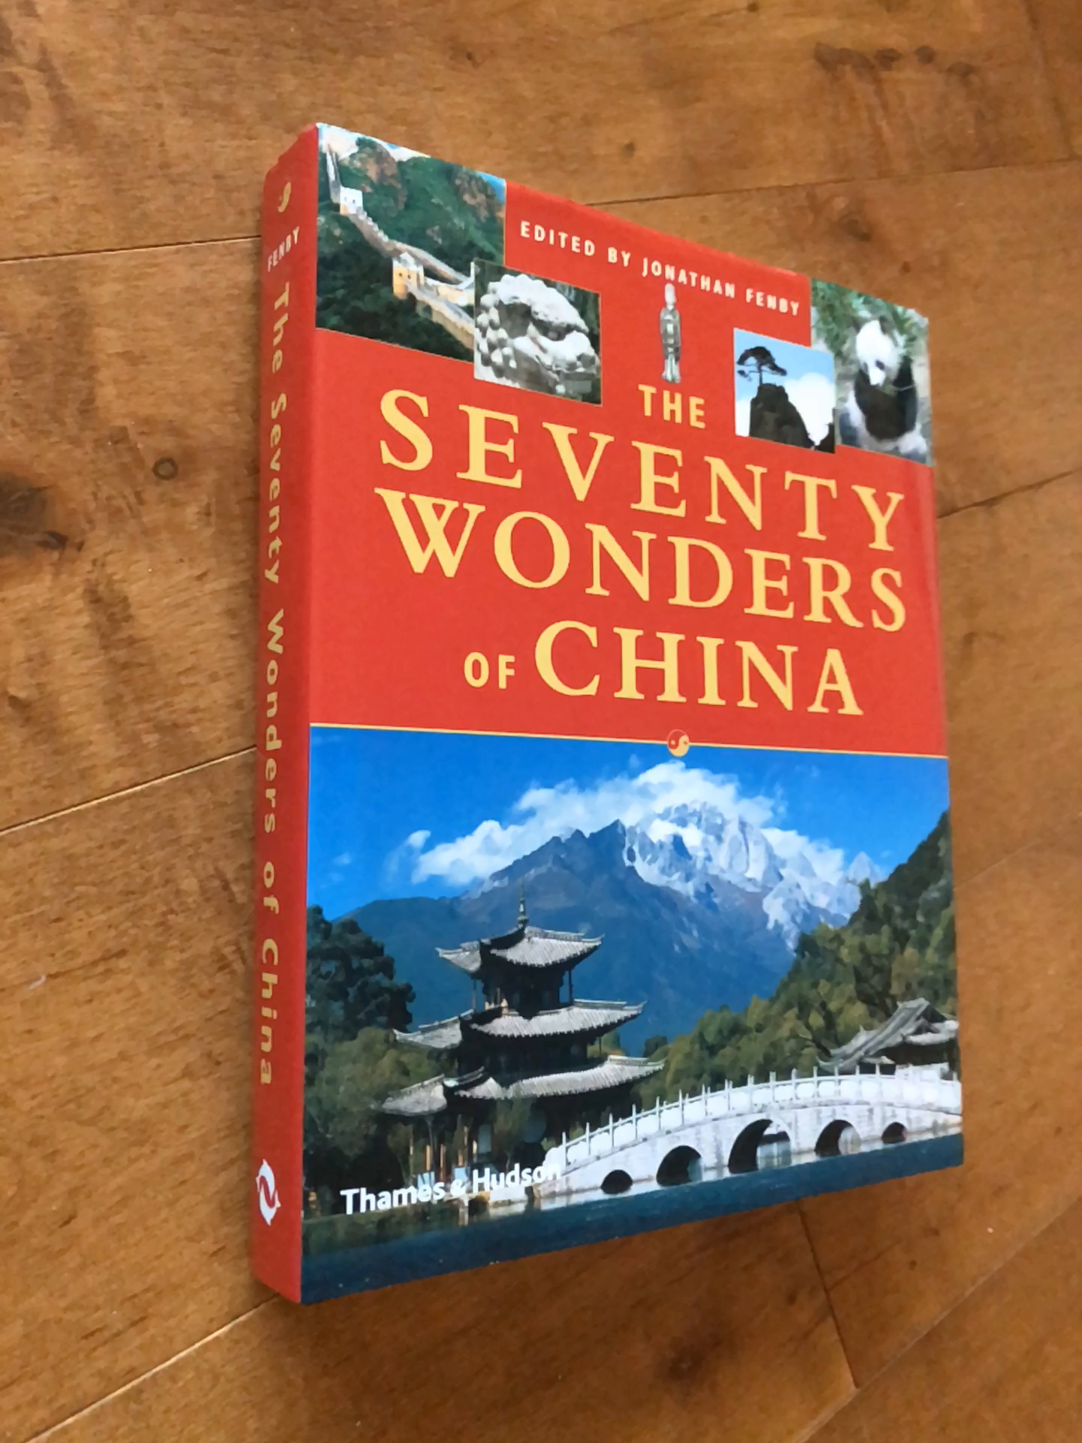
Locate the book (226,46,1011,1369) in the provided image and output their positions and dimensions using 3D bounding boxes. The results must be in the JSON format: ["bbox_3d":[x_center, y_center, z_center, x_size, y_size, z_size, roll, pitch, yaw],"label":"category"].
[{"bbox_3d":[0.029,-0.005,0.337,0.221,0.050,0.290,3,82,-31],"label":"book"}]
